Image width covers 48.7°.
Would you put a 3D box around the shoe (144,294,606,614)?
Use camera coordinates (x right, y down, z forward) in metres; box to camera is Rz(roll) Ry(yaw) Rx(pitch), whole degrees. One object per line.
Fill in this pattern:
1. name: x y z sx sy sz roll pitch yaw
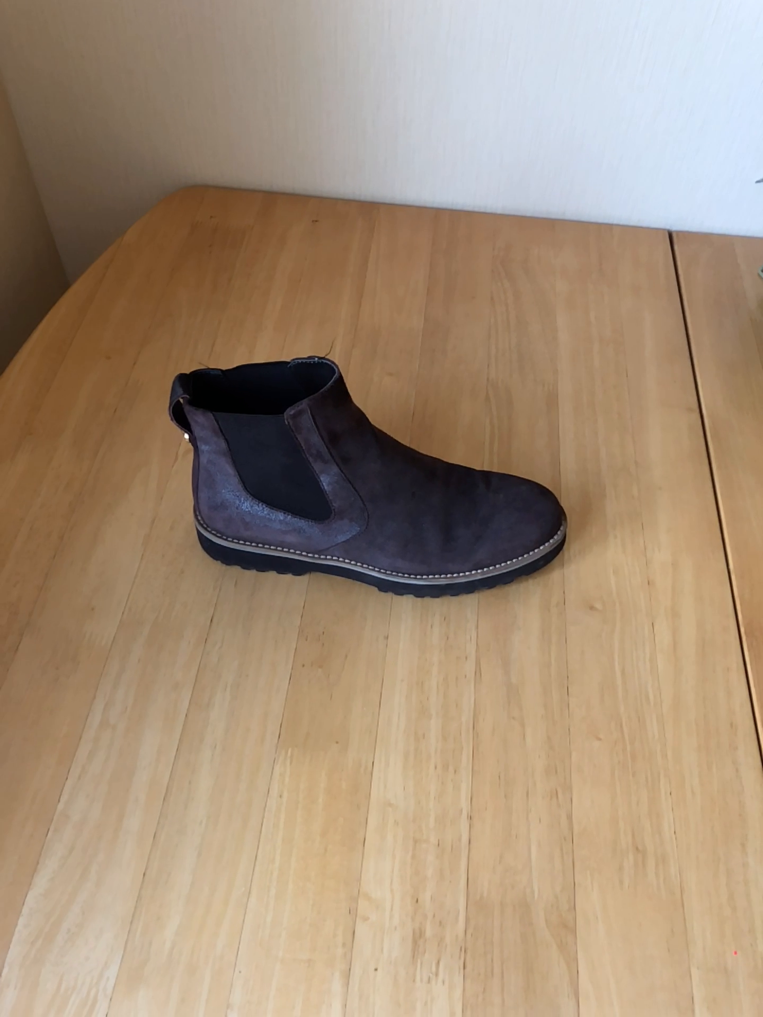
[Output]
1. shoe: 0.000 -0.029 0.476 0.220 0.120 0.100 7 52 4
